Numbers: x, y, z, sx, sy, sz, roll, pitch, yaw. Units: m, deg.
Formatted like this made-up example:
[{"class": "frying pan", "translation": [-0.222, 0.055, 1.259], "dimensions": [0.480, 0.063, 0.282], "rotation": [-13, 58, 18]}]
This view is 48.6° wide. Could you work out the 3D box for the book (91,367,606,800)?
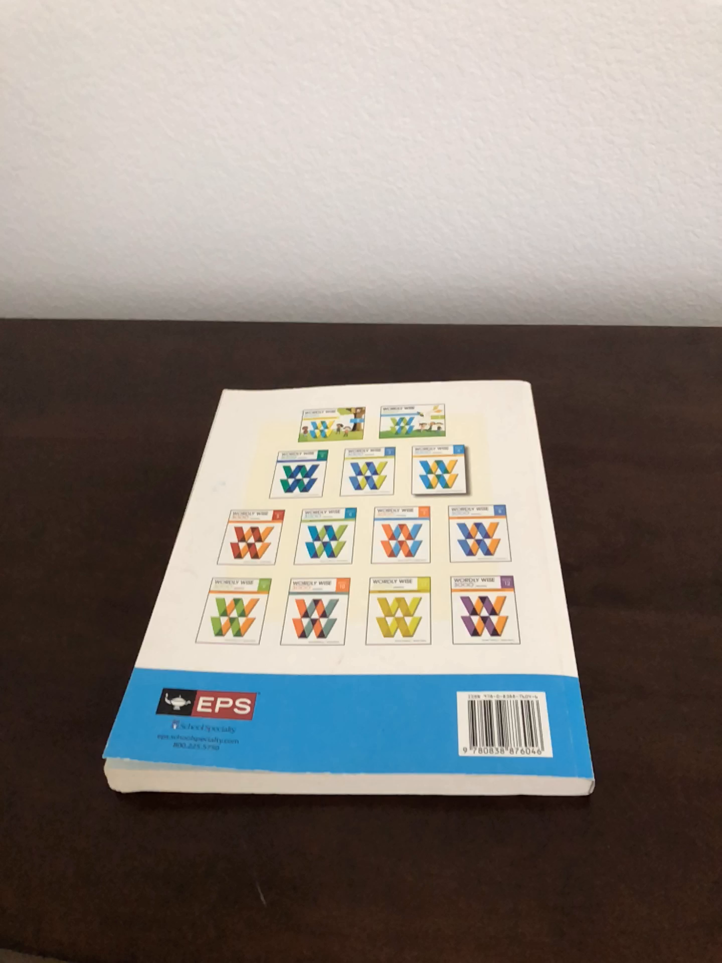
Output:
[{"class": "book", "translation": [0.000, 0.036, 0.447], "dimensions": [0.220, 0.031, 0.272], "rotation": [-2, 45, 6]}]
